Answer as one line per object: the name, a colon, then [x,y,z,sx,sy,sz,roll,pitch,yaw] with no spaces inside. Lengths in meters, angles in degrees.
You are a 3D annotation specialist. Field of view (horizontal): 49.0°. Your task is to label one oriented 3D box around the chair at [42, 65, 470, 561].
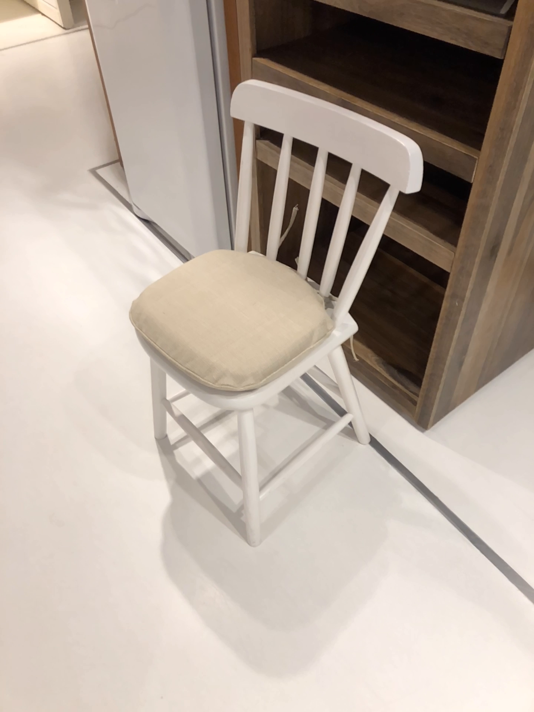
chair: [-0.013,-0.068,1.160,0.482,0.725,0.452,-33,54,-26]
